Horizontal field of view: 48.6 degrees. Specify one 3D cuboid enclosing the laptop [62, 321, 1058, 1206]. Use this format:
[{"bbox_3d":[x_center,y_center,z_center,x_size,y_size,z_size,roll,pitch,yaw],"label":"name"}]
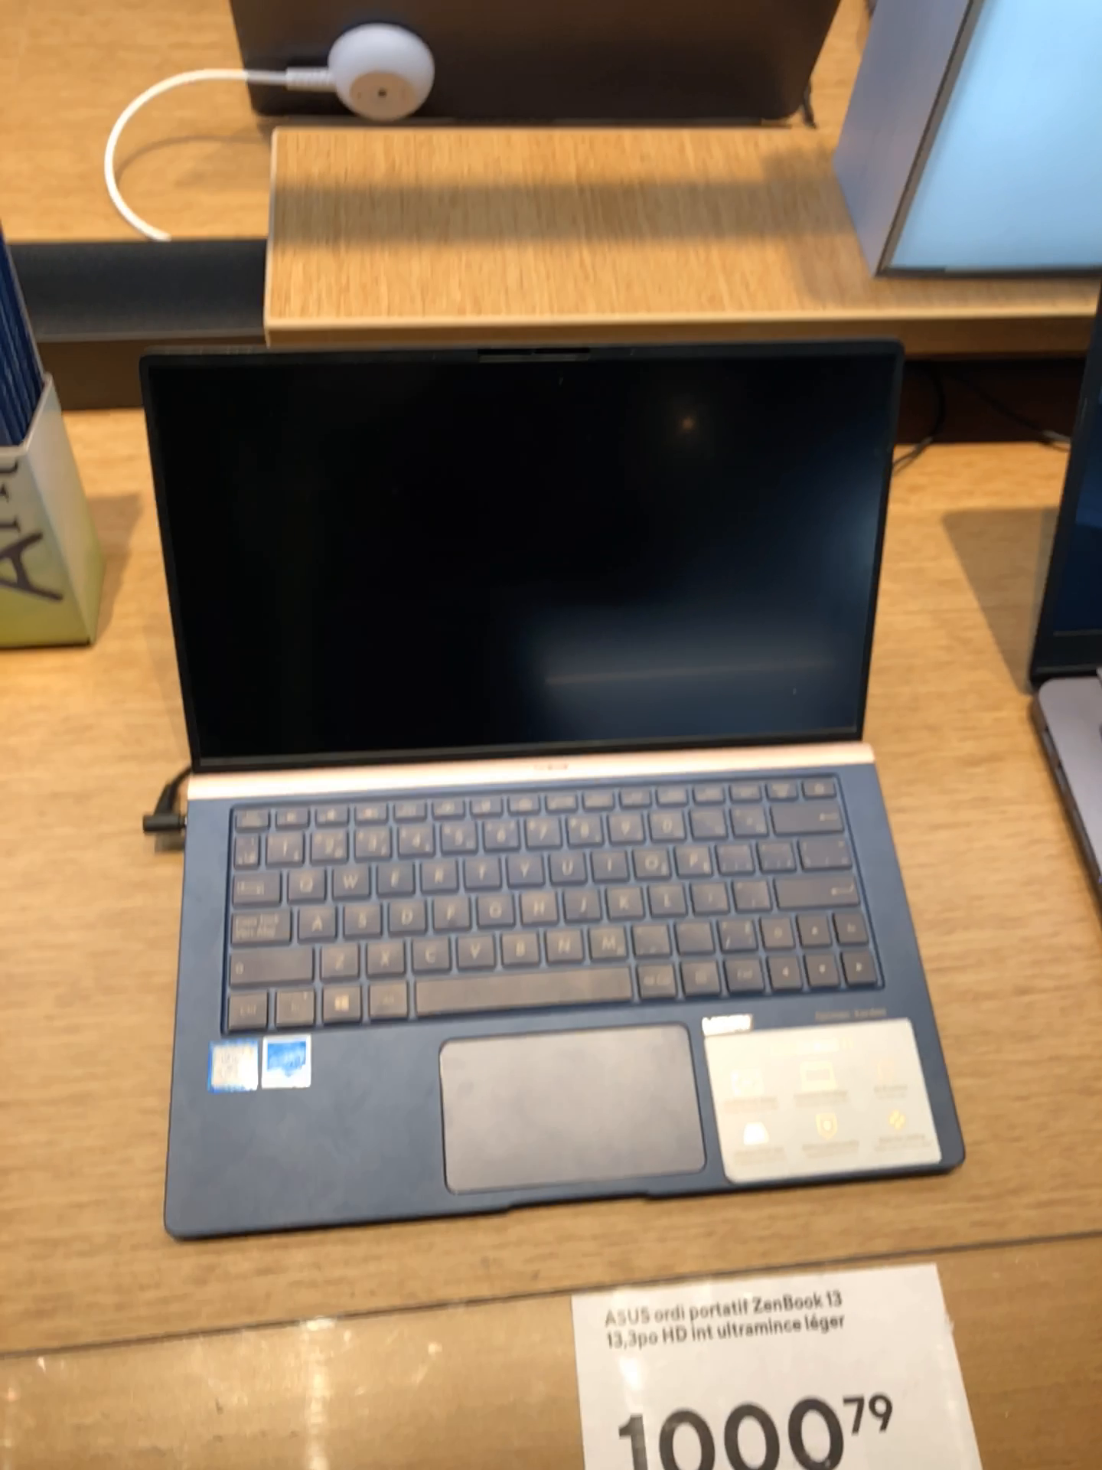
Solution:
[{"bbox_3d":[-0.003,0.004,0.455,0.276,0.130,0.276,-2,62,-4],"label":"laptop"}]
